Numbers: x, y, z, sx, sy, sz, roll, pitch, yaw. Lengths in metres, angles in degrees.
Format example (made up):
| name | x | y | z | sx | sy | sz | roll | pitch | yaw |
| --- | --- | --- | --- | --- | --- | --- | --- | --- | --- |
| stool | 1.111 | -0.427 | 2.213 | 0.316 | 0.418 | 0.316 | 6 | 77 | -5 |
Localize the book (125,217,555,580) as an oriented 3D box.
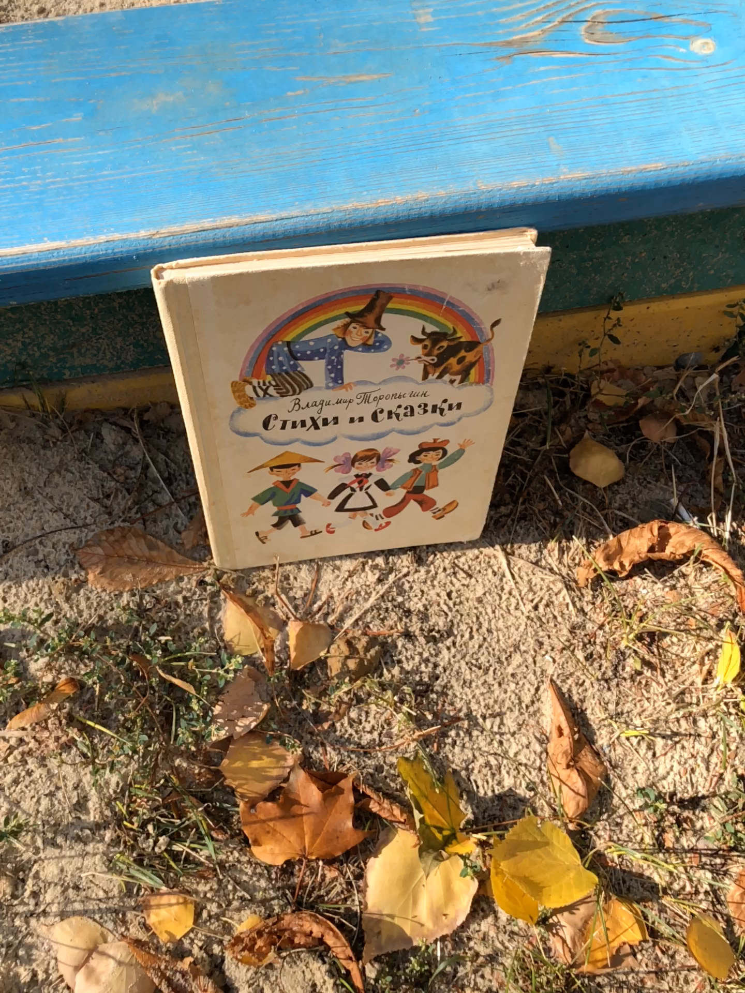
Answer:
| name | x | y | z | sx | sy | sz | roll | pitch | yaw |
| --- | --- | --- | --- | --- | --- | --- | --- | --- | --- |
| book | -0.013 | -0.036 | 0.427 | 0.178 | 0.213 | 0.024 | -6 | 51 | -5 |
